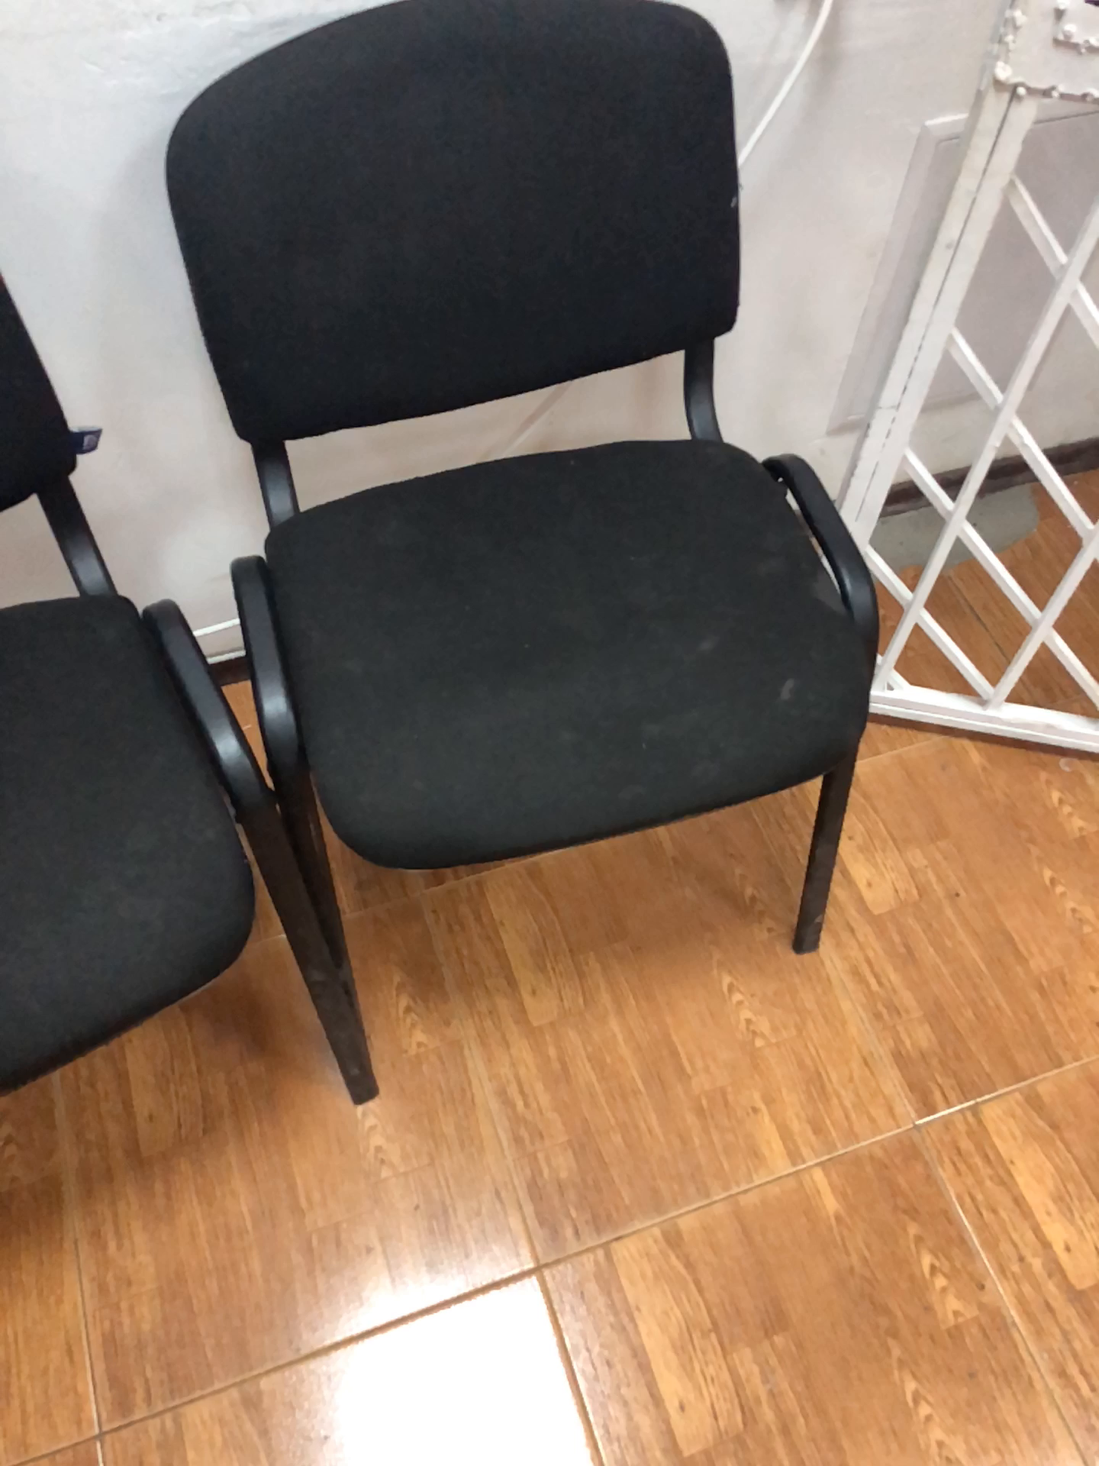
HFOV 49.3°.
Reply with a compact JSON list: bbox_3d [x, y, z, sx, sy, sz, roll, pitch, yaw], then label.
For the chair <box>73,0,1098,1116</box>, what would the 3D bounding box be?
[{"bbox_3d":[0.008,-0.117,1.001,0.520,0.748,0.511,-15,58,-12],"label":"chair"}]
